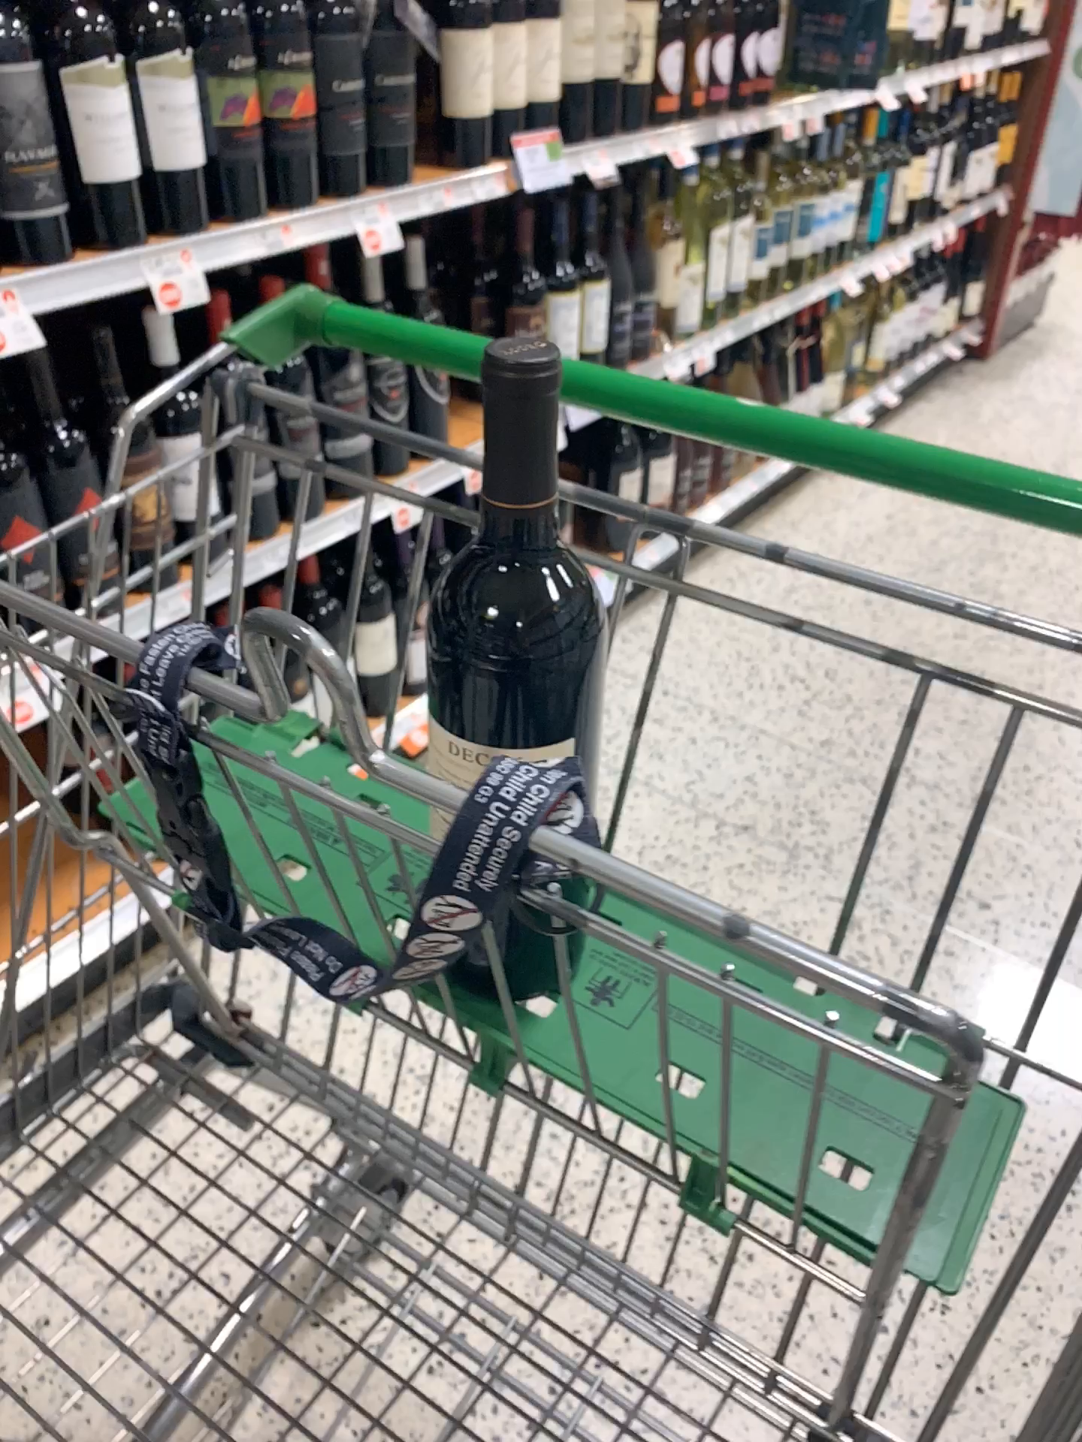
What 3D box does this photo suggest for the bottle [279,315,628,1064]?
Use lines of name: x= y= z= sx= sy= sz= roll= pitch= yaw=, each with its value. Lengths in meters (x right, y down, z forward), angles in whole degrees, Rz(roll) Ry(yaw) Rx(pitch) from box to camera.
bottle: x=-0.030 y=0.000 z=0.470 sx=0.090 sy=0.297 sz=0.091 roll=1 pitch=36 yaw=-1
